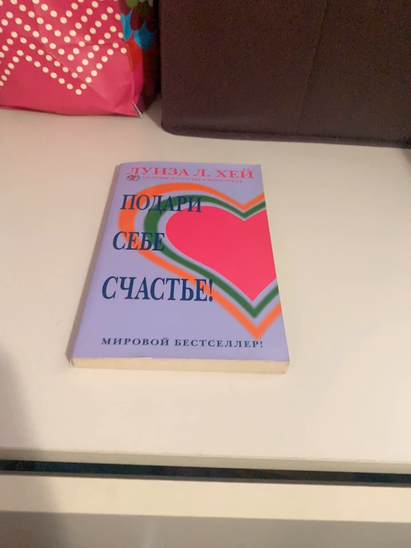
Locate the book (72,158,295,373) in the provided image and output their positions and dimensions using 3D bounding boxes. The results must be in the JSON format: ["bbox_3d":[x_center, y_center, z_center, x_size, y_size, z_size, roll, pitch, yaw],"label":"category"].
[{"bbox_3d":[-0.012,-0.021,0.306,0.123,0.016,0.195,2,47,-2],"label":"book"}]
